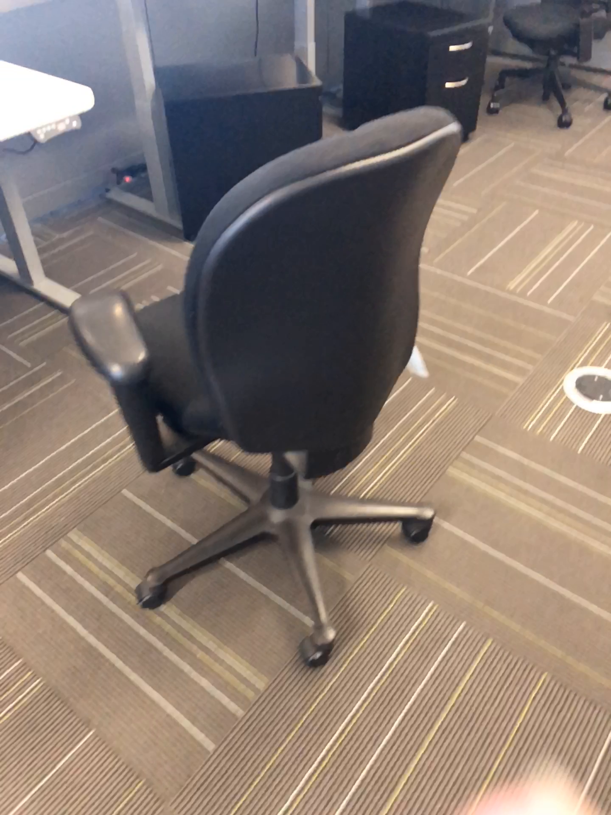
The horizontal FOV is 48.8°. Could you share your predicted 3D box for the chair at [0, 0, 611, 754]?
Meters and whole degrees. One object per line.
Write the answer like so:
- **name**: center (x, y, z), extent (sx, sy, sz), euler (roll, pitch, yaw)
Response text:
- **chair**: center (-0.117, -0.105, 1.170), extent (0.701, 0.995, 0.683), euler (-25, 47, -24)
